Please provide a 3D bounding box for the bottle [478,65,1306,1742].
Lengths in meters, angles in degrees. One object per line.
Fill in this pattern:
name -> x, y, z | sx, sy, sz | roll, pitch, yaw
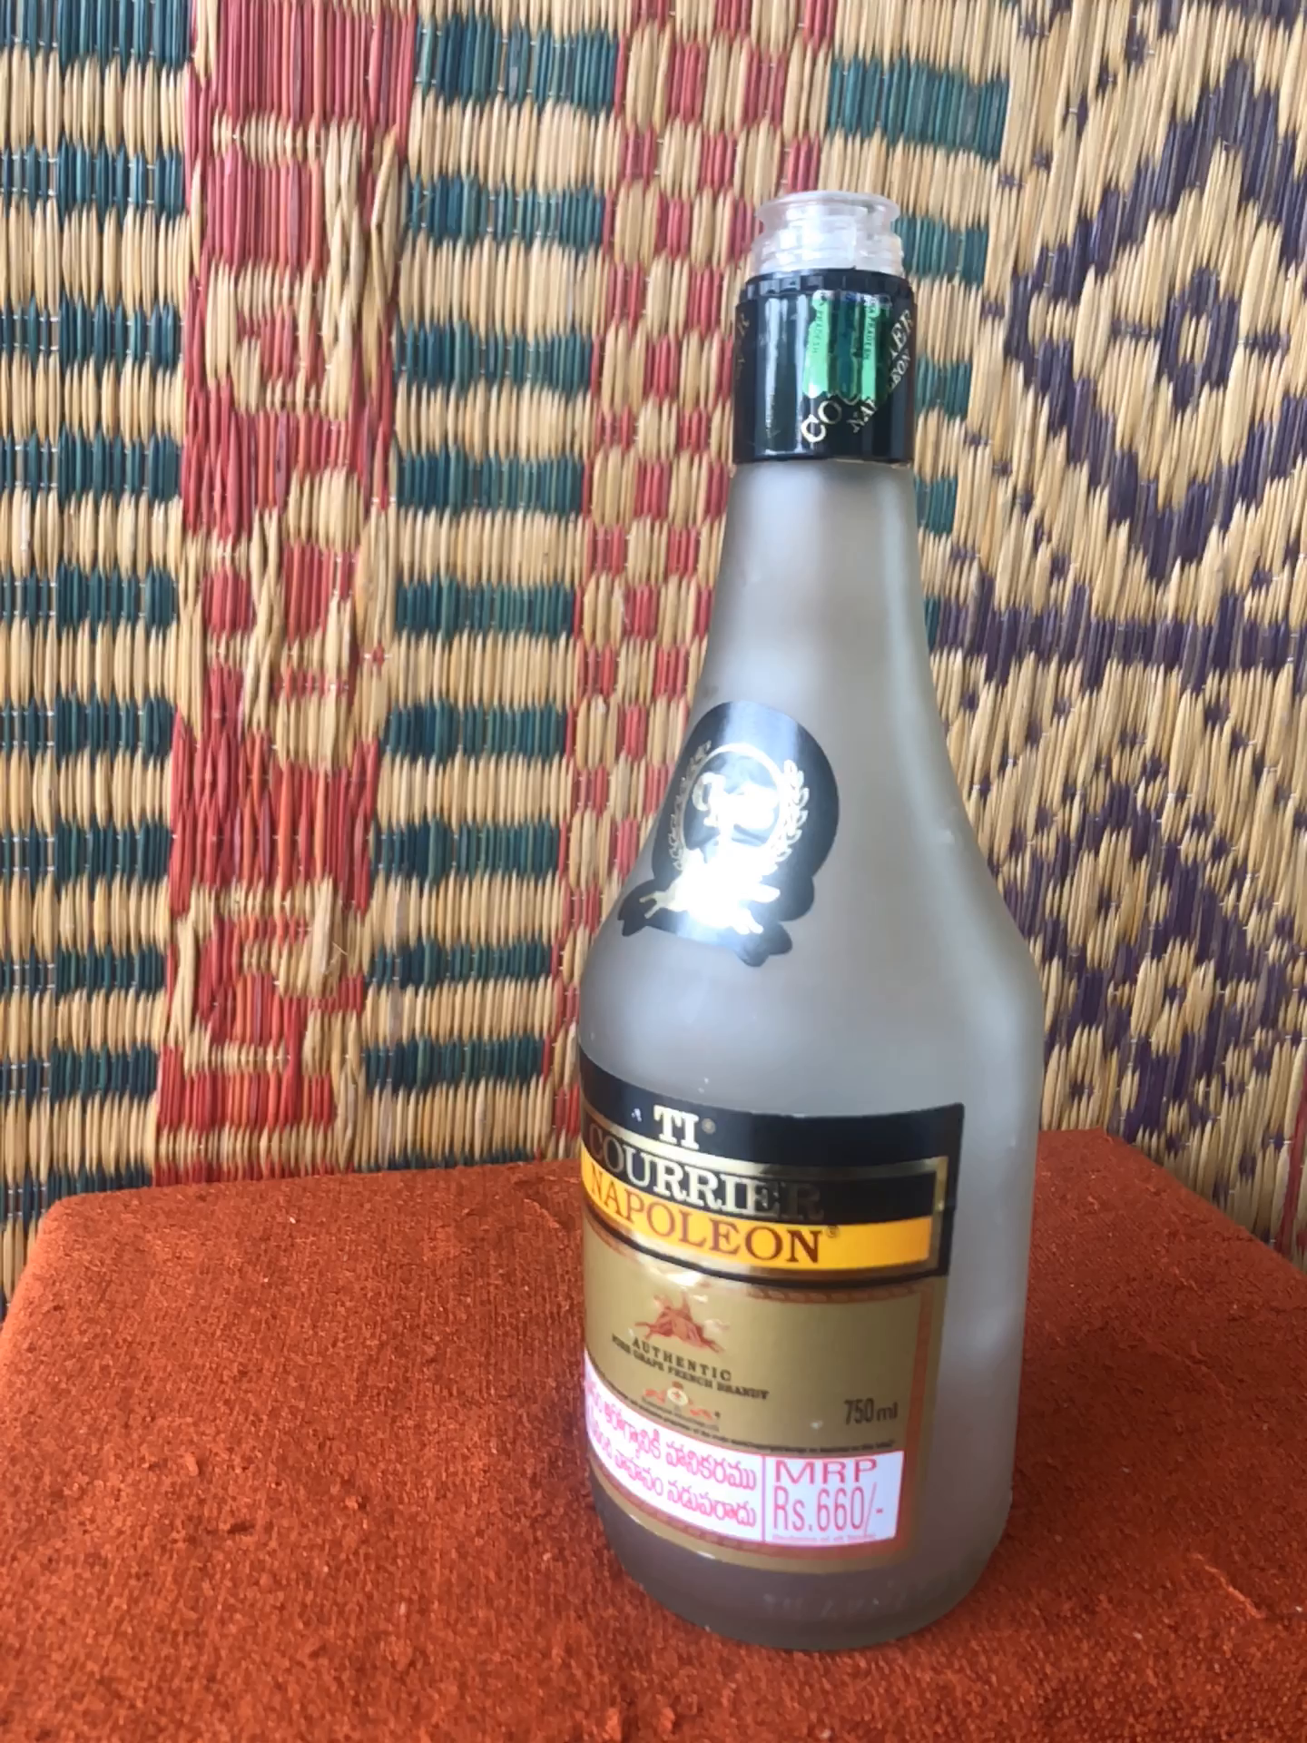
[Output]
bottle -> 0.038, 0.010, 0.264 | 0.100, 0.249, 0.090 | 13, 17, 37
